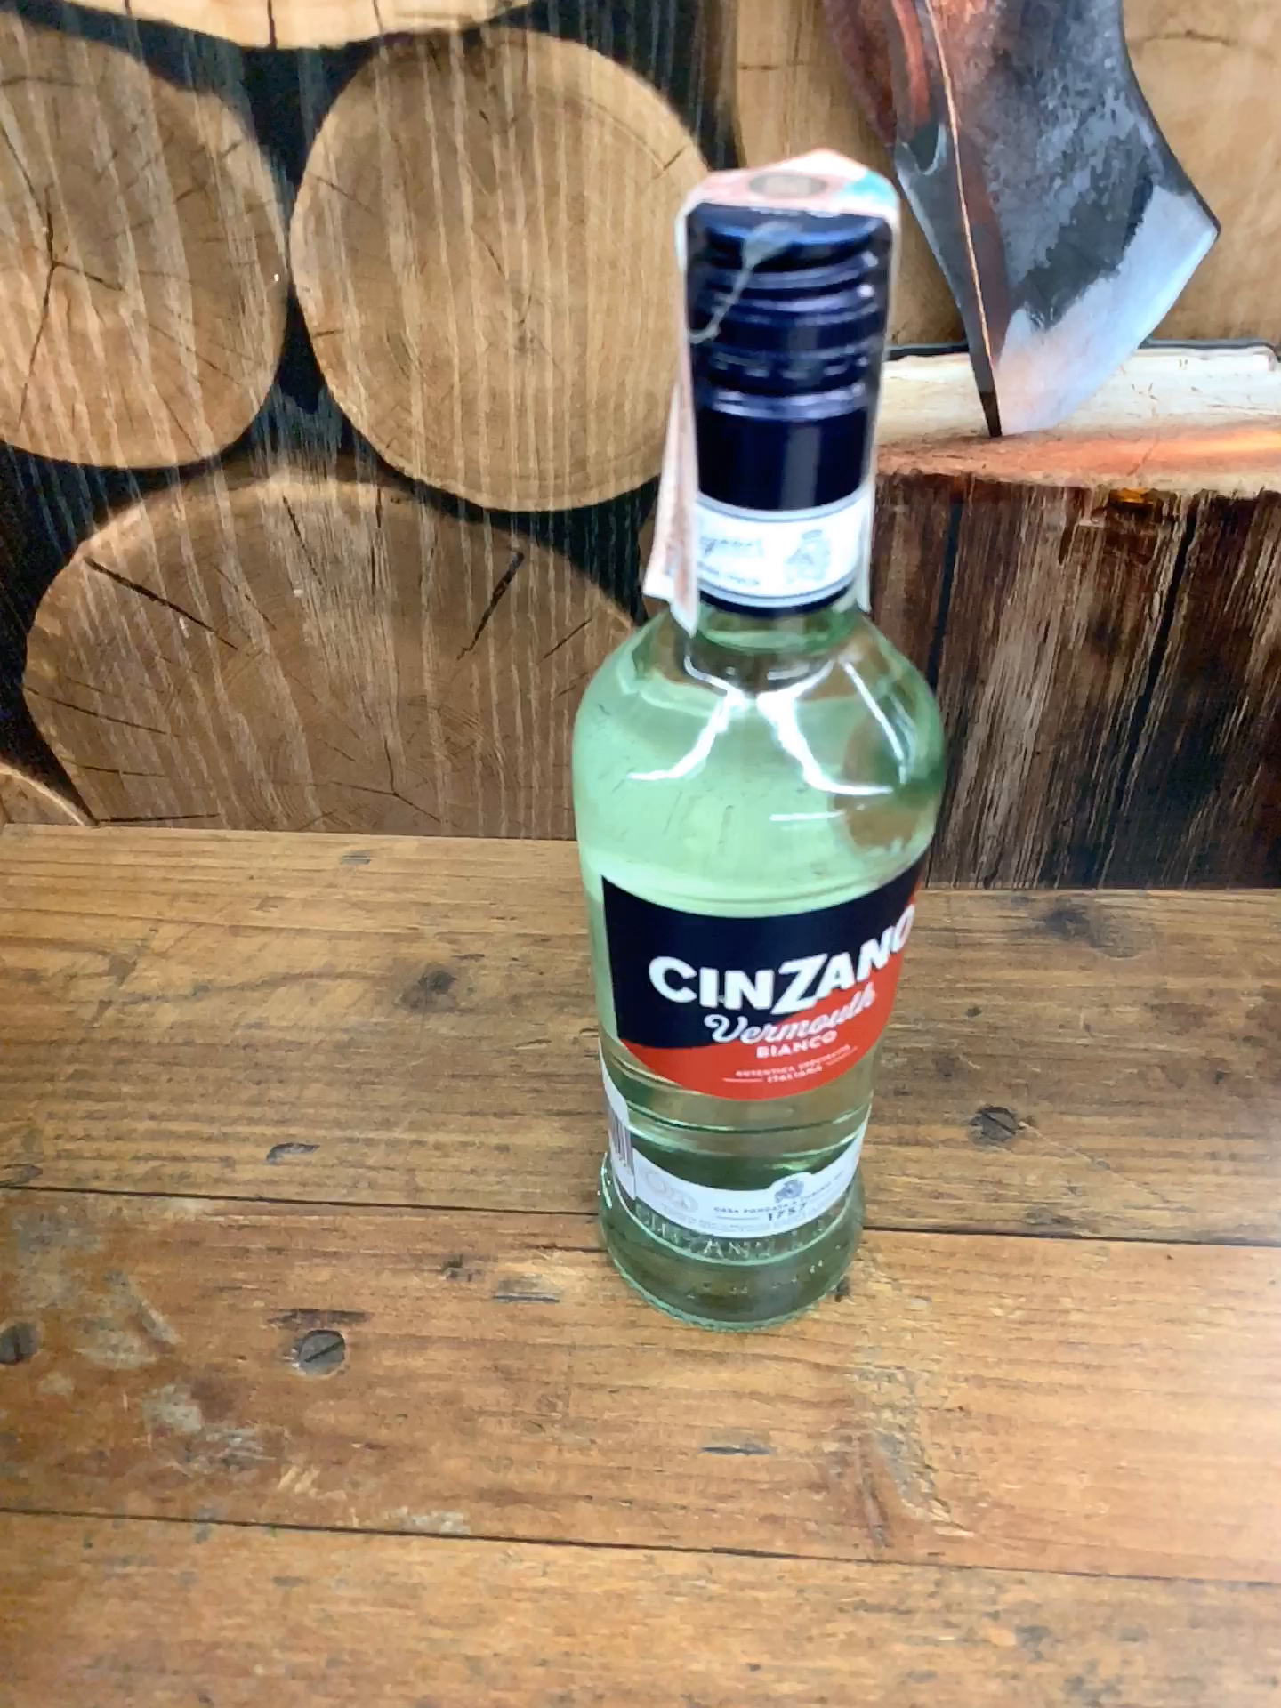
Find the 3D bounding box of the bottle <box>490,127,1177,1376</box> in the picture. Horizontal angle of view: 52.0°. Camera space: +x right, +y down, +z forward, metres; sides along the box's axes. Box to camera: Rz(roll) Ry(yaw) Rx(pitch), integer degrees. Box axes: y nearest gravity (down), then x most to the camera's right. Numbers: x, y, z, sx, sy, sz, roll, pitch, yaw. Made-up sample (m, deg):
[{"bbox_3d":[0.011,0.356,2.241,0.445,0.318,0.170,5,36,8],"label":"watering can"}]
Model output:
[{"bbox_3d":[0.020,0.003,0.247,0.070,0.231,0.070,0,42,0],"label":"bottle"}]
